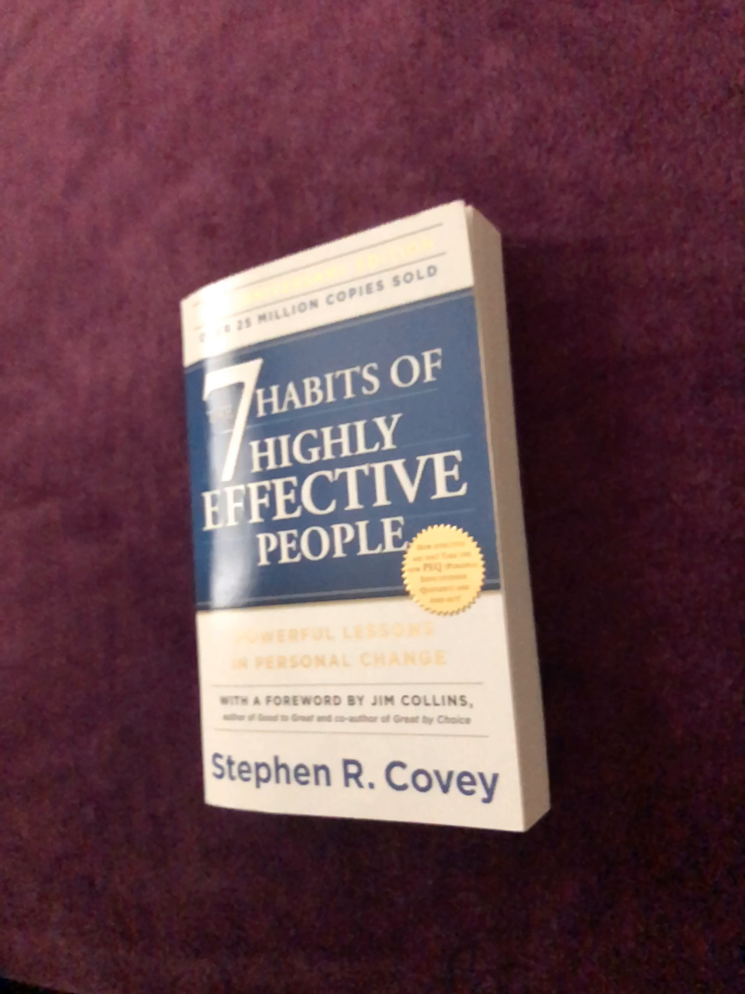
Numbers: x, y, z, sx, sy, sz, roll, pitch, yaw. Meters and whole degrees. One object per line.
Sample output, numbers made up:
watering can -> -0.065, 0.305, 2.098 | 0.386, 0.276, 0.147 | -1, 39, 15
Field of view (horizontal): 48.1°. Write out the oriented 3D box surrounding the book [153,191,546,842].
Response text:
book -> -0.017, 0.011, 0.327 | 0.147, 0.028, 0.217 | -8, 83, 30
